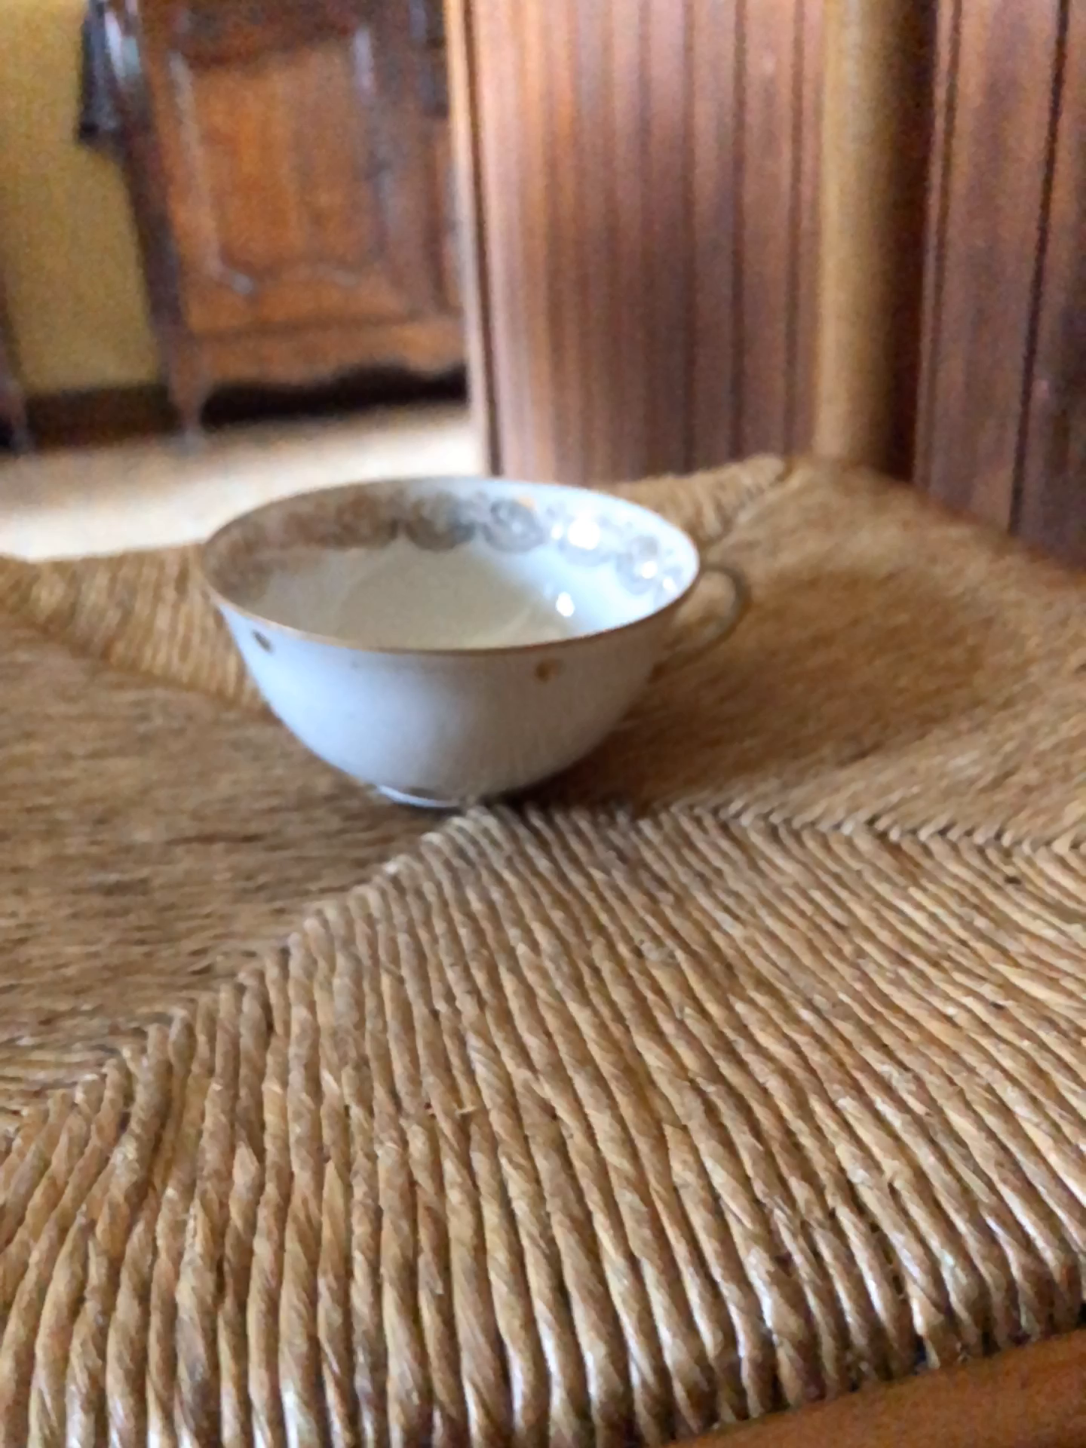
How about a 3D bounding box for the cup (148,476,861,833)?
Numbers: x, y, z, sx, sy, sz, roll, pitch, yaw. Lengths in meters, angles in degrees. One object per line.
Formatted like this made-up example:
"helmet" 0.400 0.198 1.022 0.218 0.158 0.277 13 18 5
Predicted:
"cup" -0.017 -0.027 0.303 0.140 0.040 0.131 2 23 -1
